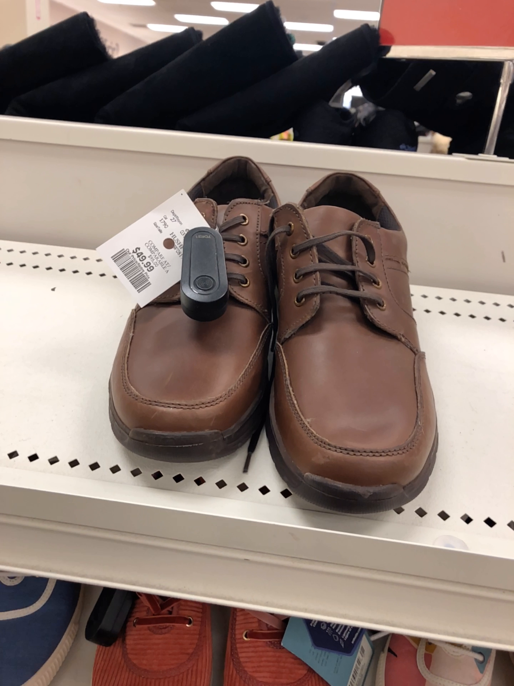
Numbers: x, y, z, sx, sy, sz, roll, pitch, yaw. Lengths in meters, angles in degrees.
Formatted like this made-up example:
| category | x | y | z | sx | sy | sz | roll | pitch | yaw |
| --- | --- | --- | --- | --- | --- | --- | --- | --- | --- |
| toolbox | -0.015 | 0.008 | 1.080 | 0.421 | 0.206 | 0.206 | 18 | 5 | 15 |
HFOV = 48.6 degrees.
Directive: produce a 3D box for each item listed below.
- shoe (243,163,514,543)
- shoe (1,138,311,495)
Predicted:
| category | x | y | z | sx | sy | sz | roll | pitch | yaw |
| --- | --- | --- | --- | --- | --- | --- | --- | --- | --- |
| shoe | 0.069 | -0.038 | 0.391 | 0.120 | 0.109 | 0.343 | 5 | 26 | 2 |
| shoe | -0.032 | -0.058 | 0.405 | 0.120 | 0.109 | 0.333 | 6 | 28 | 4 |
